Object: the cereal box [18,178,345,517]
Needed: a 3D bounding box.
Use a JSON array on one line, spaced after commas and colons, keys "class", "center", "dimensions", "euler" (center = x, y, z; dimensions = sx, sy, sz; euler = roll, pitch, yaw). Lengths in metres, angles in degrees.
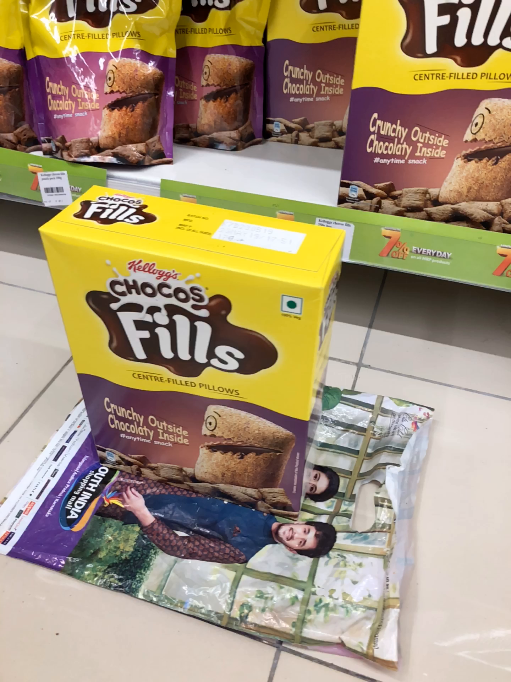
[{"class": "cereal box", "center": [-0.045, 0.013, 0.425], "dimensions": [0.190, 0.229, 0.070], "euler": [12, 42, 13]}]
